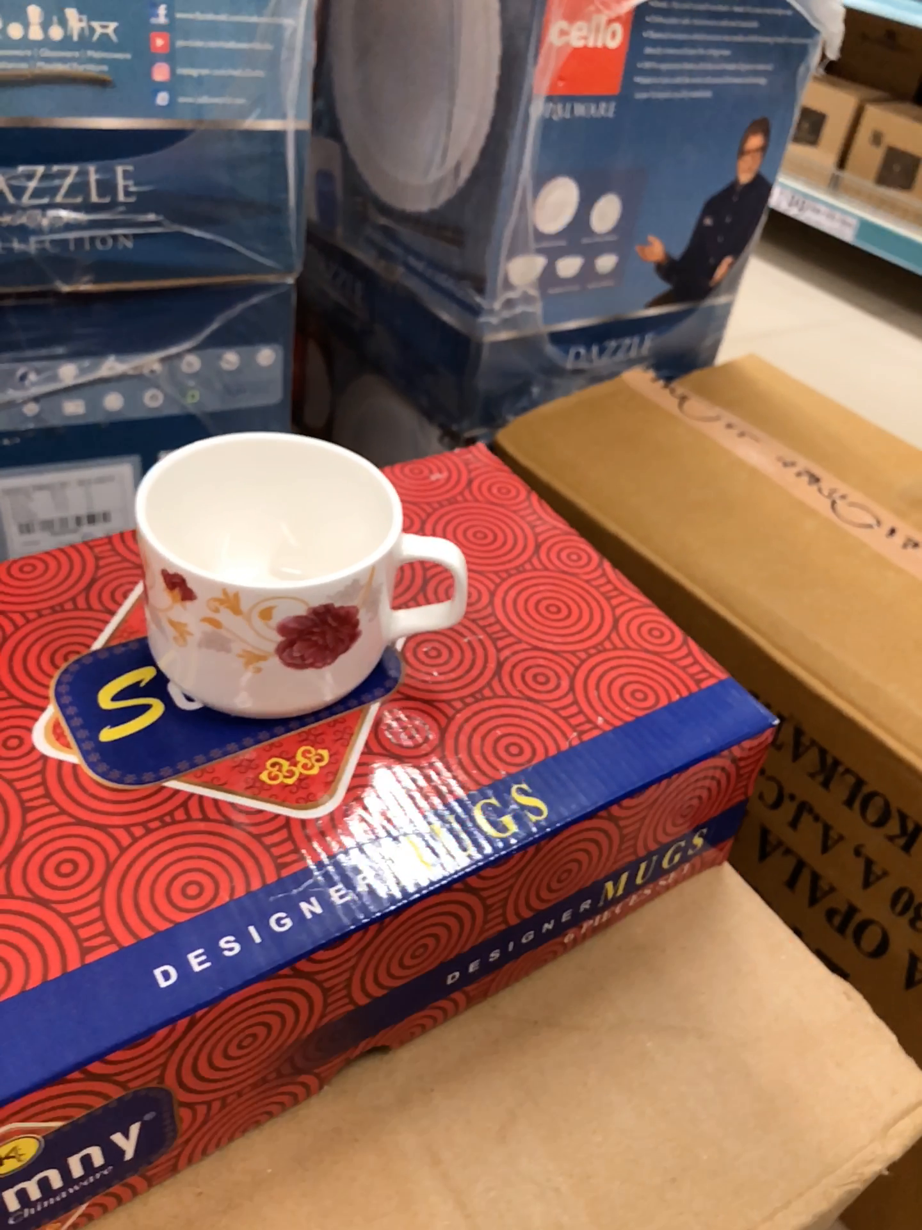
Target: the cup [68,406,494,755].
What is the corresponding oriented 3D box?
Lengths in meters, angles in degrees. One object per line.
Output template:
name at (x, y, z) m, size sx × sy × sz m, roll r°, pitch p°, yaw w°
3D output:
cup at (-0.045, -0.012, 0.290) m, size 0.100 × 0.050 × 0.081 m, roll 6°, pitch 38°, yaw -5°
